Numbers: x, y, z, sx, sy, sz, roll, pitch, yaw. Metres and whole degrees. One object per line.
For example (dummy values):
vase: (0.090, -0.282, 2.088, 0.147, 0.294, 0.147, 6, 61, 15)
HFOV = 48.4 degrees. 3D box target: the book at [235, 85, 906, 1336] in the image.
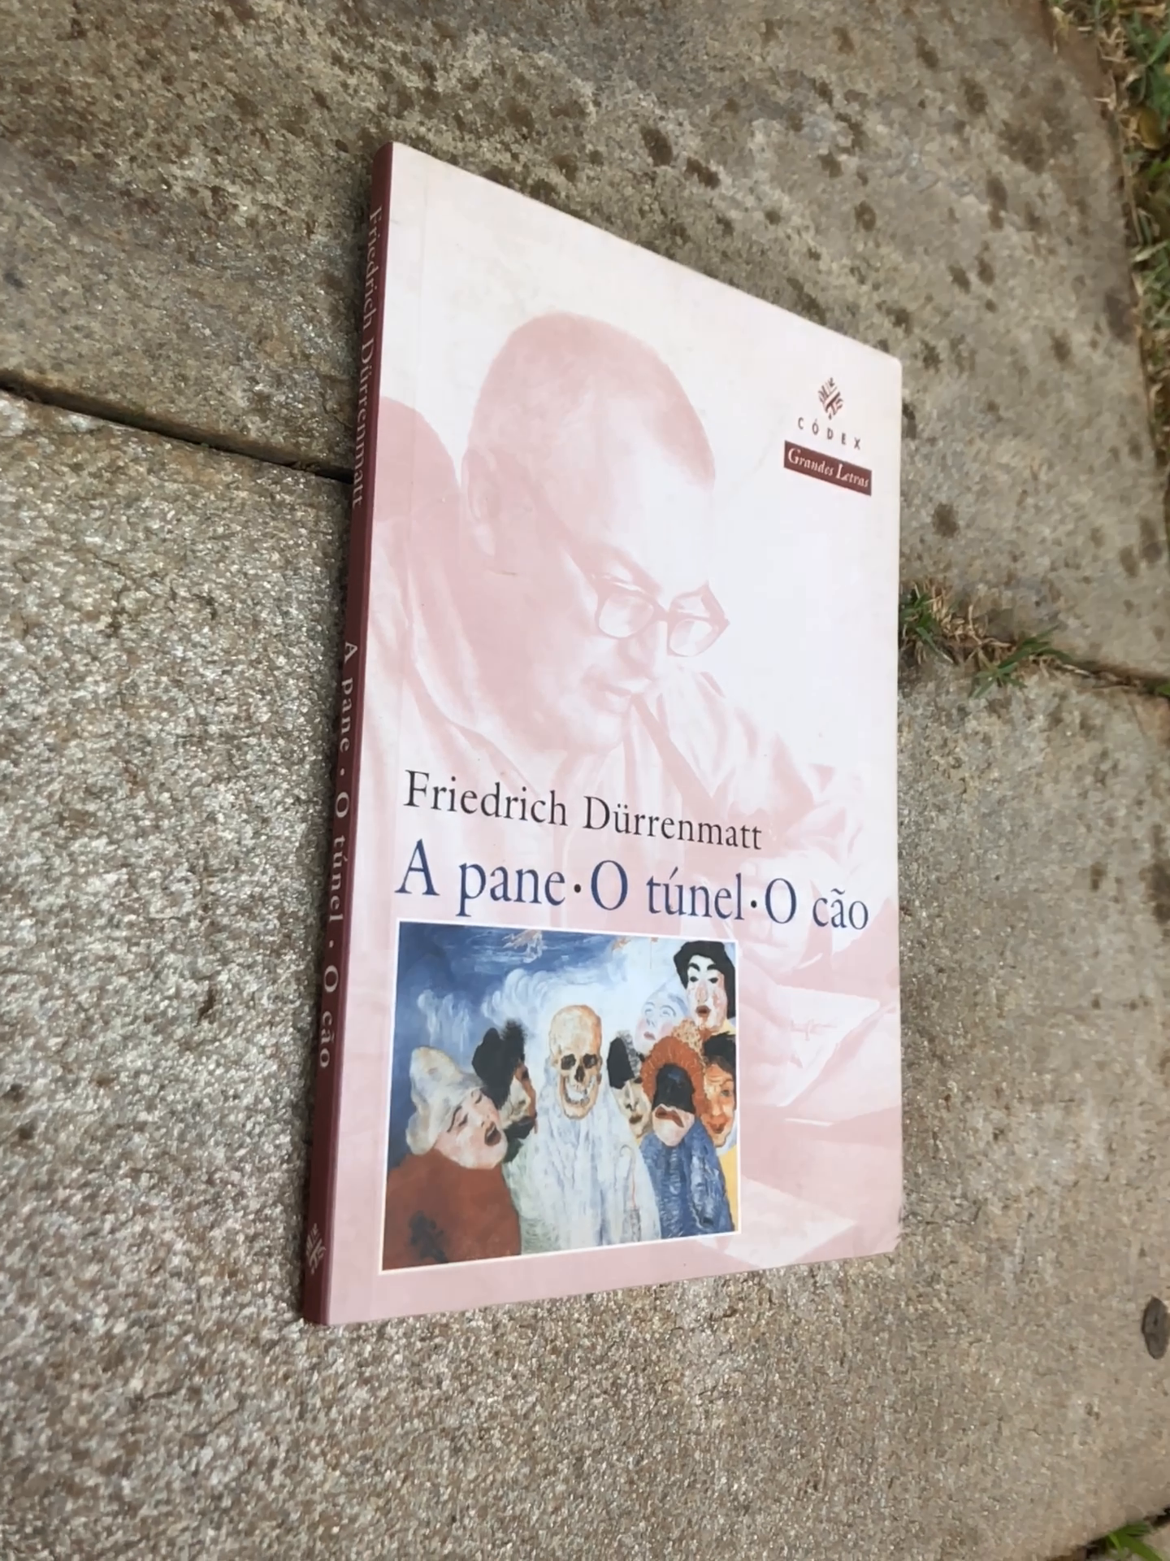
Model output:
book: (0.010, -0.009, 0.262, 0.138, 0.020, 0.210, 9, 79, -35)
